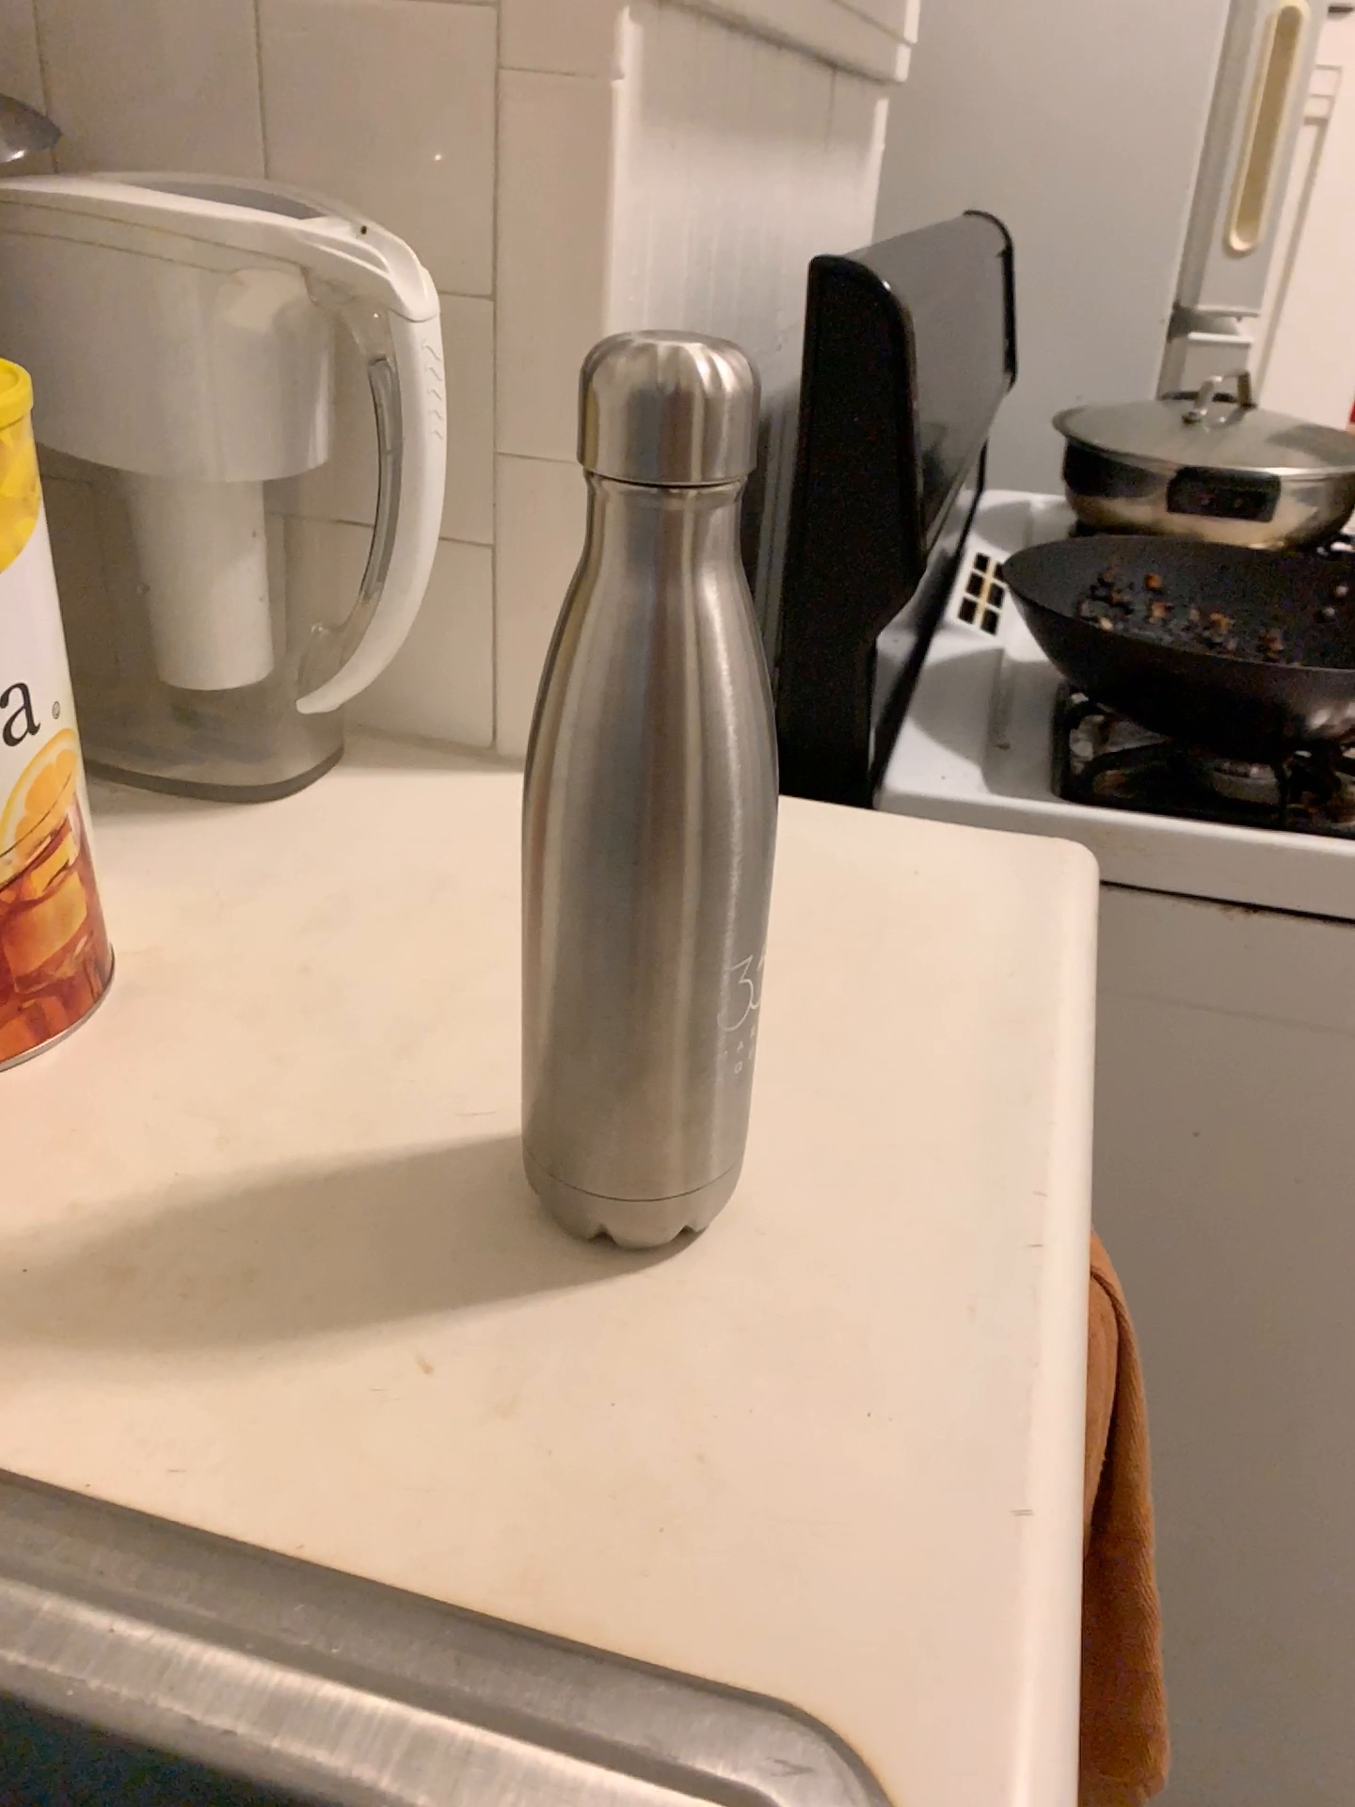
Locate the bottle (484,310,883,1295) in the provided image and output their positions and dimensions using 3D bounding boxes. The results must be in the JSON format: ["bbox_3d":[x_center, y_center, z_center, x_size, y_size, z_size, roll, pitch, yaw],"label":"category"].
[{"bbox_3d":[-0.004,-0.020,0.379,0.070,0.249,0.070,3,29,-2],"label":"bottle"}]
